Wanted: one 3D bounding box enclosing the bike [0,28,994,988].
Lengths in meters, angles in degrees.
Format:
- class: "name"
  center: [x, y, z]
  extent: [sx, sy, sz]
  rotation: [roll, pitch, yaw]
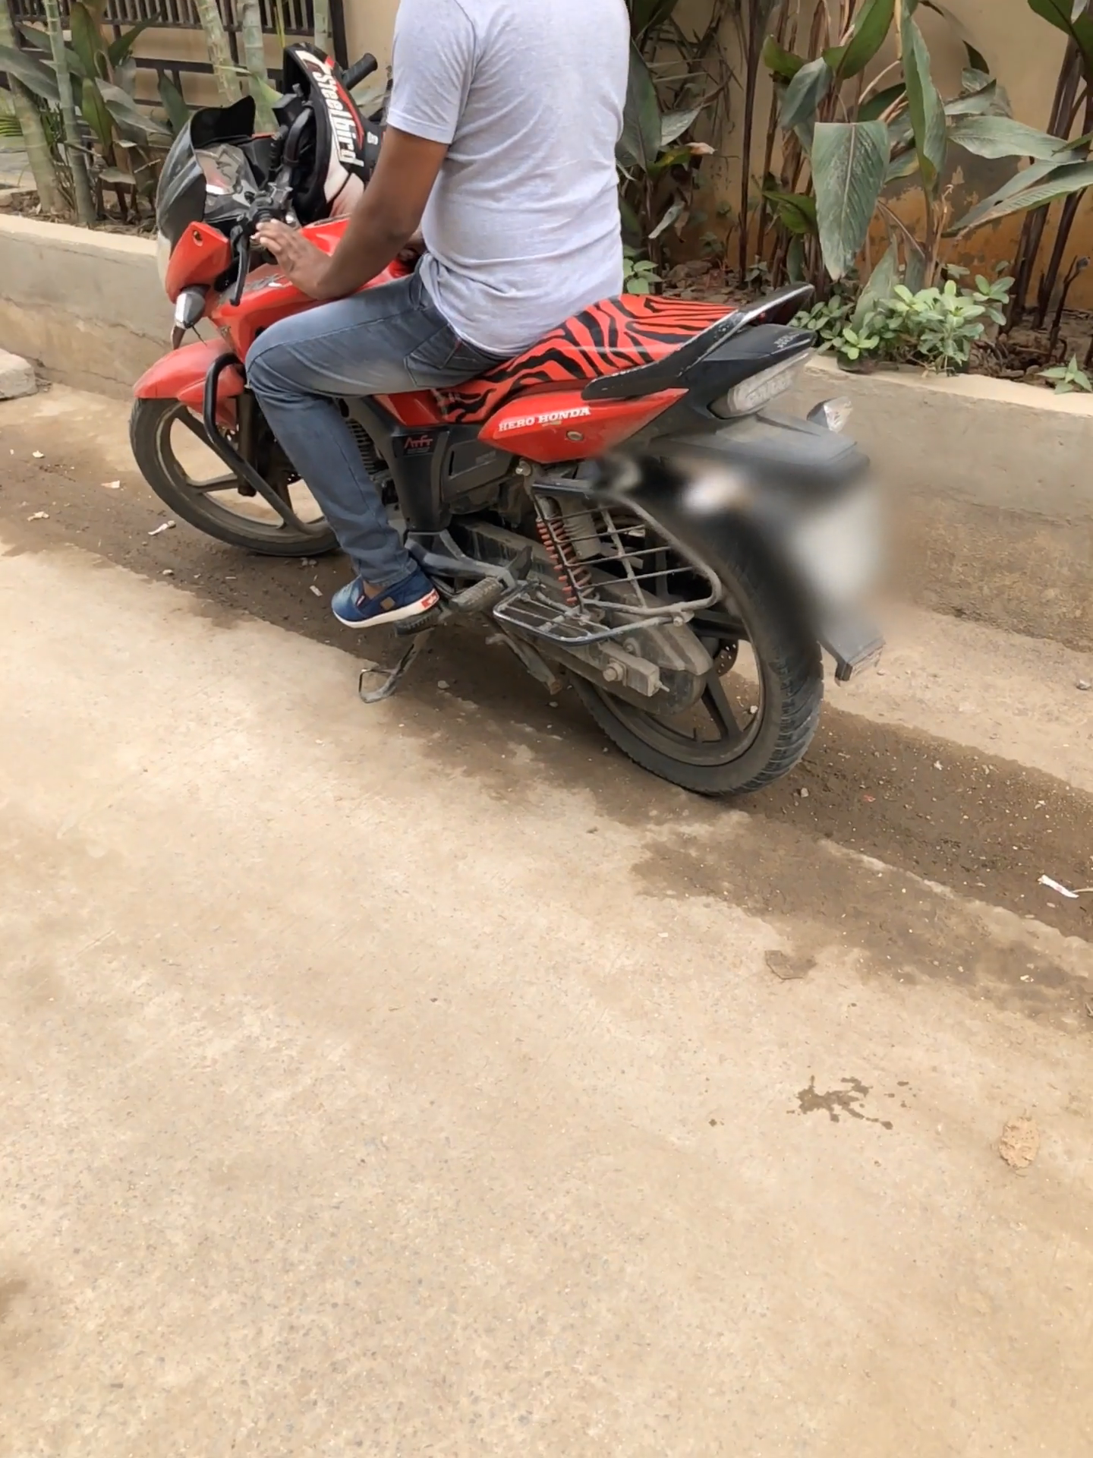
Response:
- class: "bike"
  center: [-0.307, -0.552, 2.249]
  extent: [1.789, 1.207, 0.693]
  rotation: [25, 41, 32]
